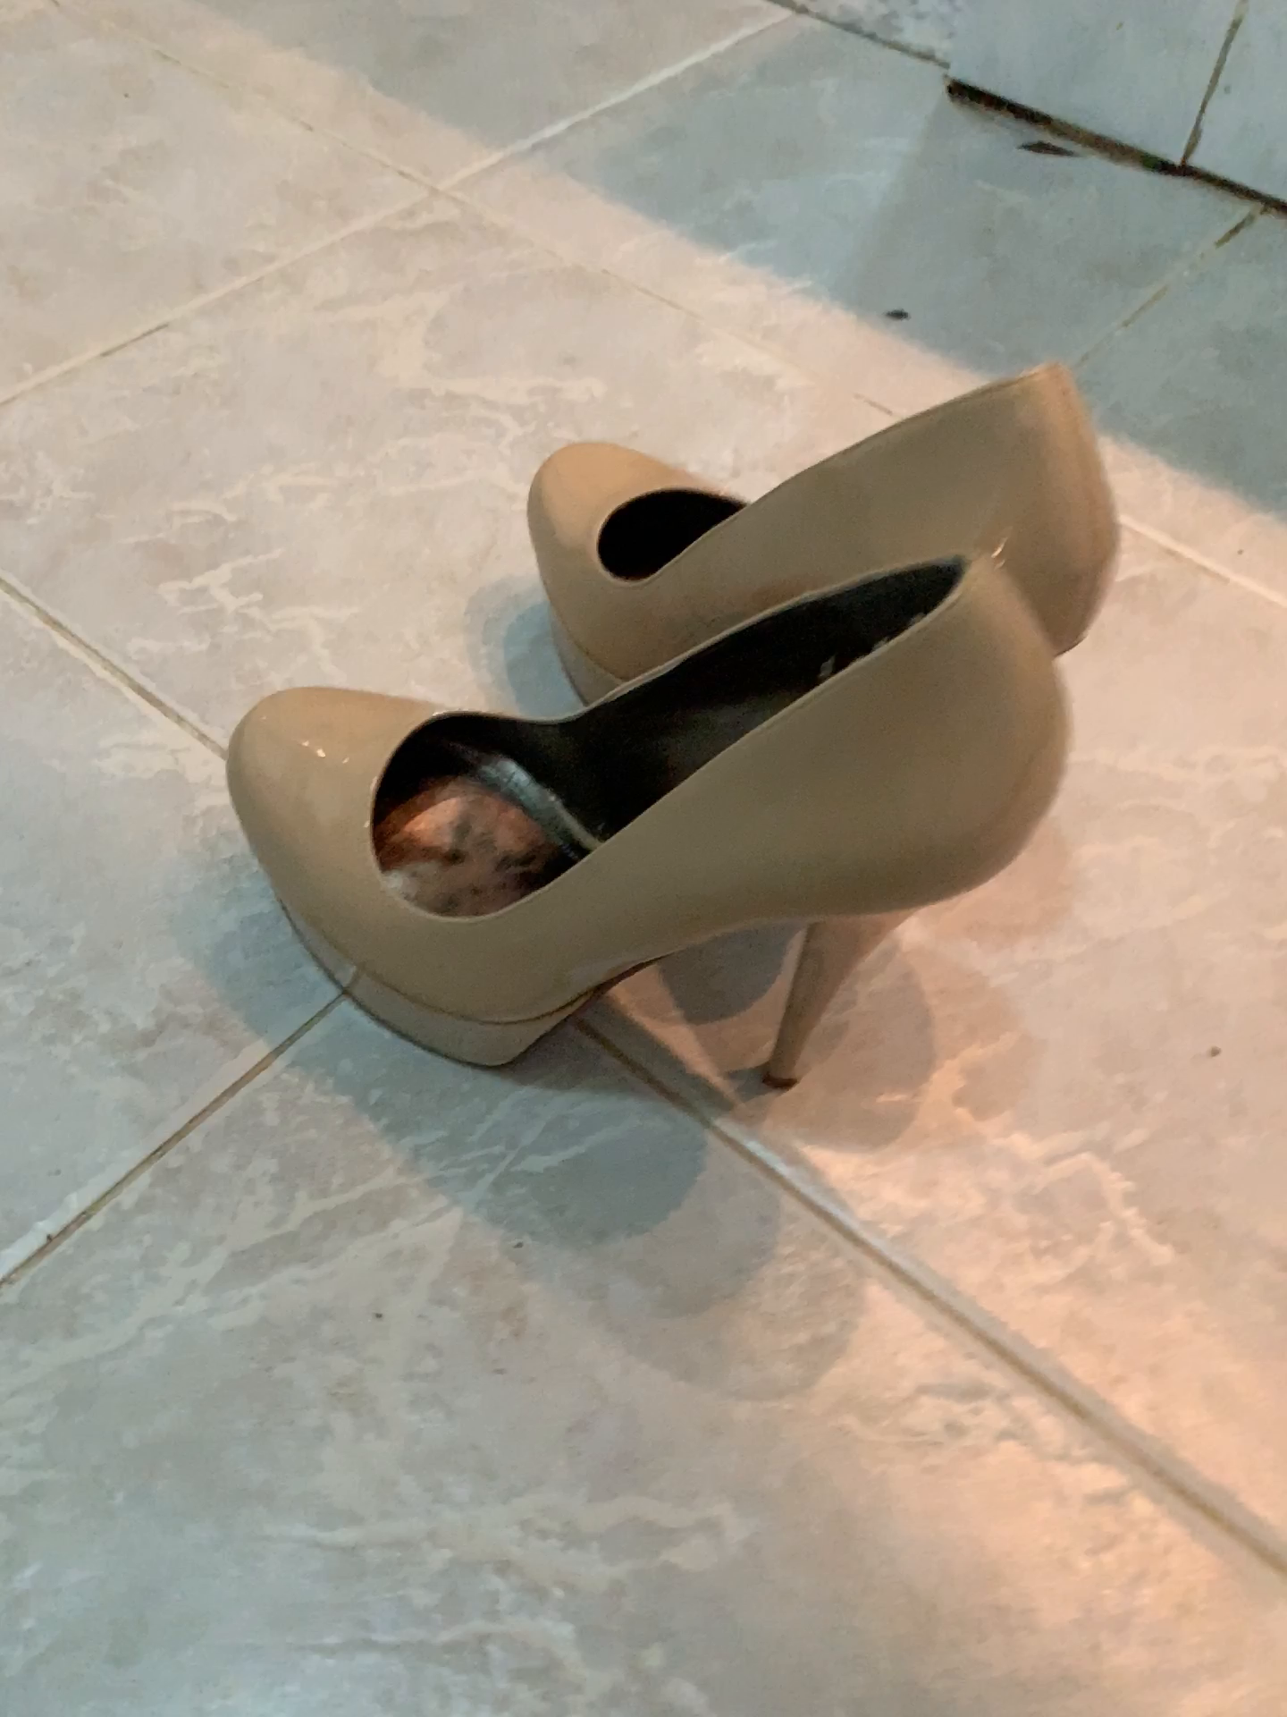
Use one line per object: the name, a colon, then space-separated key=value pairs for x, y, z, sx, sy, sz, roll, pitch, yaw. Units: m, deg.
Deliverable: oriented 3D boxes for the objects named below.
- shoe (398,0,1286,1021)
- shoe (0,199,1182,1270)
shoe: x=0.036 y=-0.095 z=0.364 sx=0.087 sy=0.176 sz=0.210 roll=-32 pitch=61 yaw=-25
shoe: x=-0.020 y=-0.023 z=0.308 sx=0.210 sy=0.166 sz=0.087 roll=25 pitch=55 yaw=15
